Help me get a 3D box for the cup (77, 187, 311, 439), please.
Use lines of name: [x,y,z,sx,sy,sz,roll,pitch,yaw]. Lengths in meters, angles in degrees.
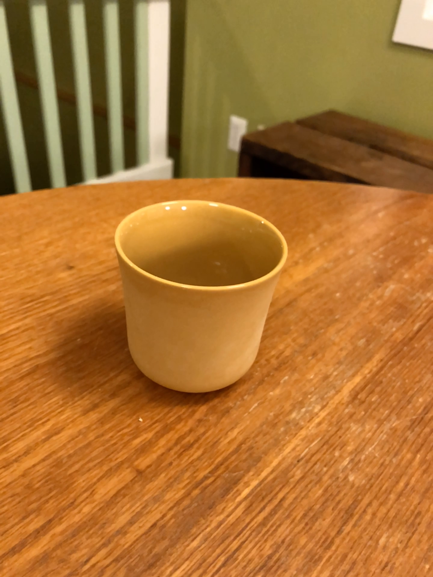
cup: [-0.009,0.007,0.233,0.077,0.073,0.074,4,35,-3]
